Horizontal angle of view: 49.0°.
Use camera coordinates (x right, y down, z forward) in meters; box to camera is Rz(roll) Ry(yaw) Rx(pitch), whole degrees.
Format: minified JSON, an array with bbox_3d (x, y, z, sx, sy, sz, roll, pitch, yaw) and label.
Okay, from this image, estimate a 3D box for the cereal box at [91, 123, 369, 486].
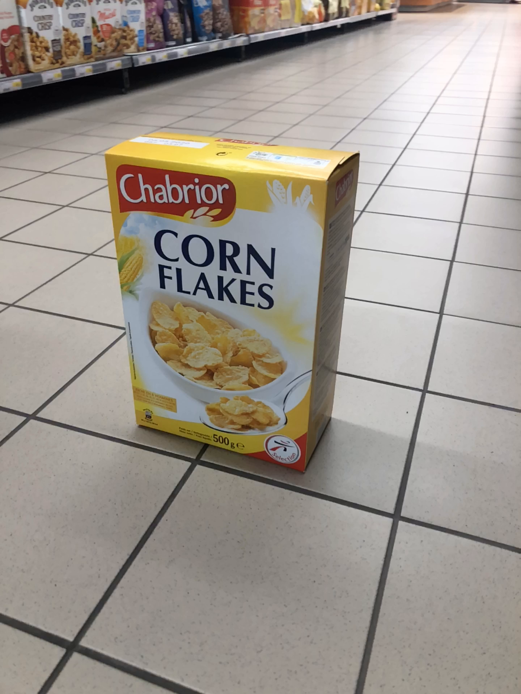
[{"bbox_3d":[-0.024,-0.042,0.568,0.210,0.308,0.111,13,33,19],"label":"cereal box"}]
